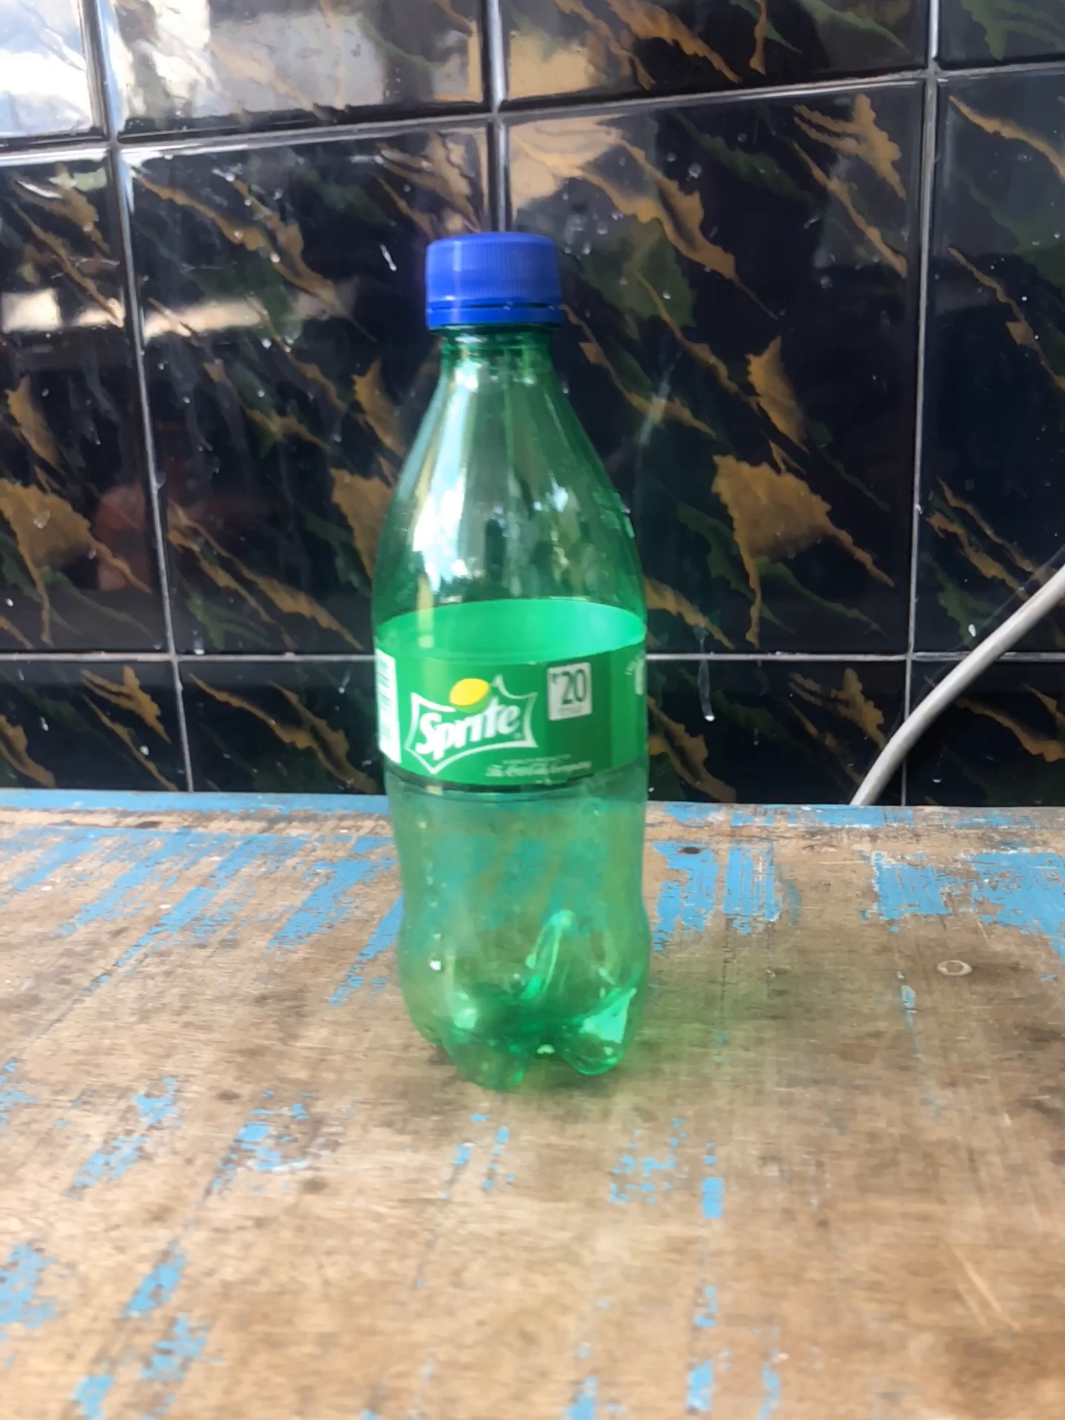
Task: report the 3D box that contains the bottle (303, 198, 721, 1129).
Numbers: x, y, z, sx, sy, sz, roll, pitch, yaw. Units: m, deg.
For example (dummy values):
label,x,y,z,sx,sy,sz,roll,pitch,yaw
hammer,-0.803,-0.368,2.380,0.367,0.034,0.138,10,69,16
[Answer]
label,x,y,z,sx,sy,sz,roll,pitch,yaw
bottle,0.002,-0.008,0.230,0.060,0.159,0.050,2,16,18
